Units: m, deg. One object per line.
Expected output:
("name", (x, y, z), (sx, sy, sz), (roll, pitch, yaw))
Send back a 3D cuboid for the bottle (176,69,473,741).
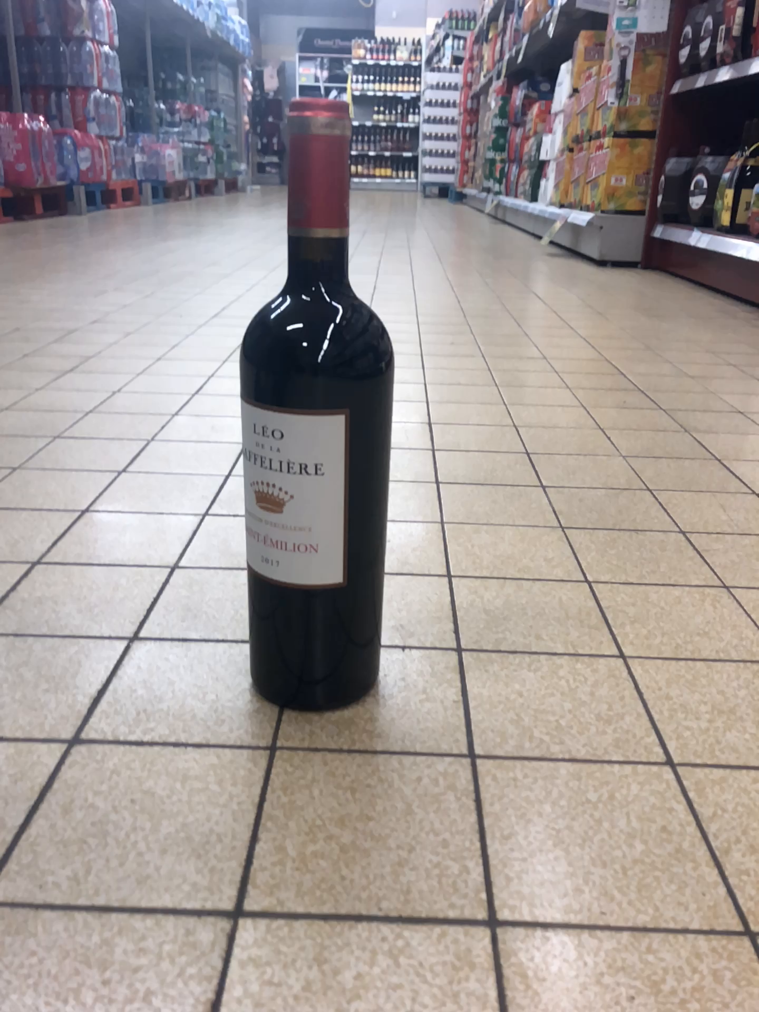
("bottle", (-0.028, -0.045, 0.407), (0.090, 0.287, 0.090), (2, 21, -1))
